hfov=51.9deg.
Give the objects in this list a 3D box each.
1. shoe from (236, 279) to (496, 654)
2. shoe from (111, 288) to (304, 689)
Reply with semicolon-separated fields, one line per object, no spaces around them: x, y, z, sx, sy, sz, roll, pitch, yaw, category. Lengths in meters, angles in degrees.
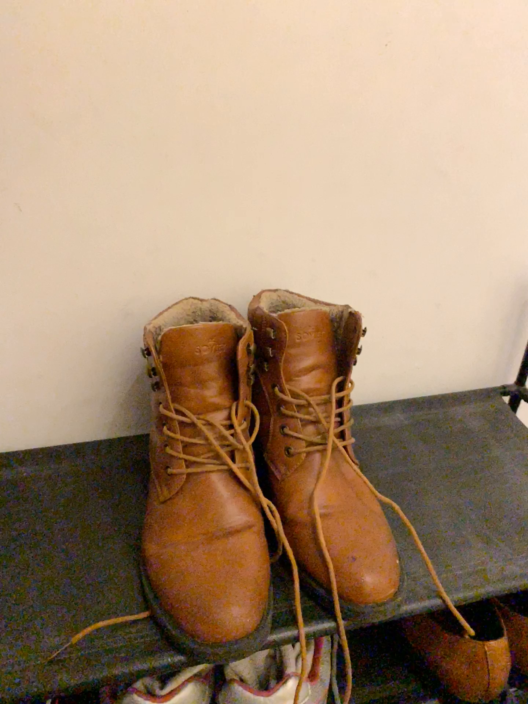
0.058;0.077;0.478;0.110;0.198;0.242;-7;29;-15;shoe
-0.055;0.090;0.475;0.110;0.198;0.272;-3;29;-9;shoe
